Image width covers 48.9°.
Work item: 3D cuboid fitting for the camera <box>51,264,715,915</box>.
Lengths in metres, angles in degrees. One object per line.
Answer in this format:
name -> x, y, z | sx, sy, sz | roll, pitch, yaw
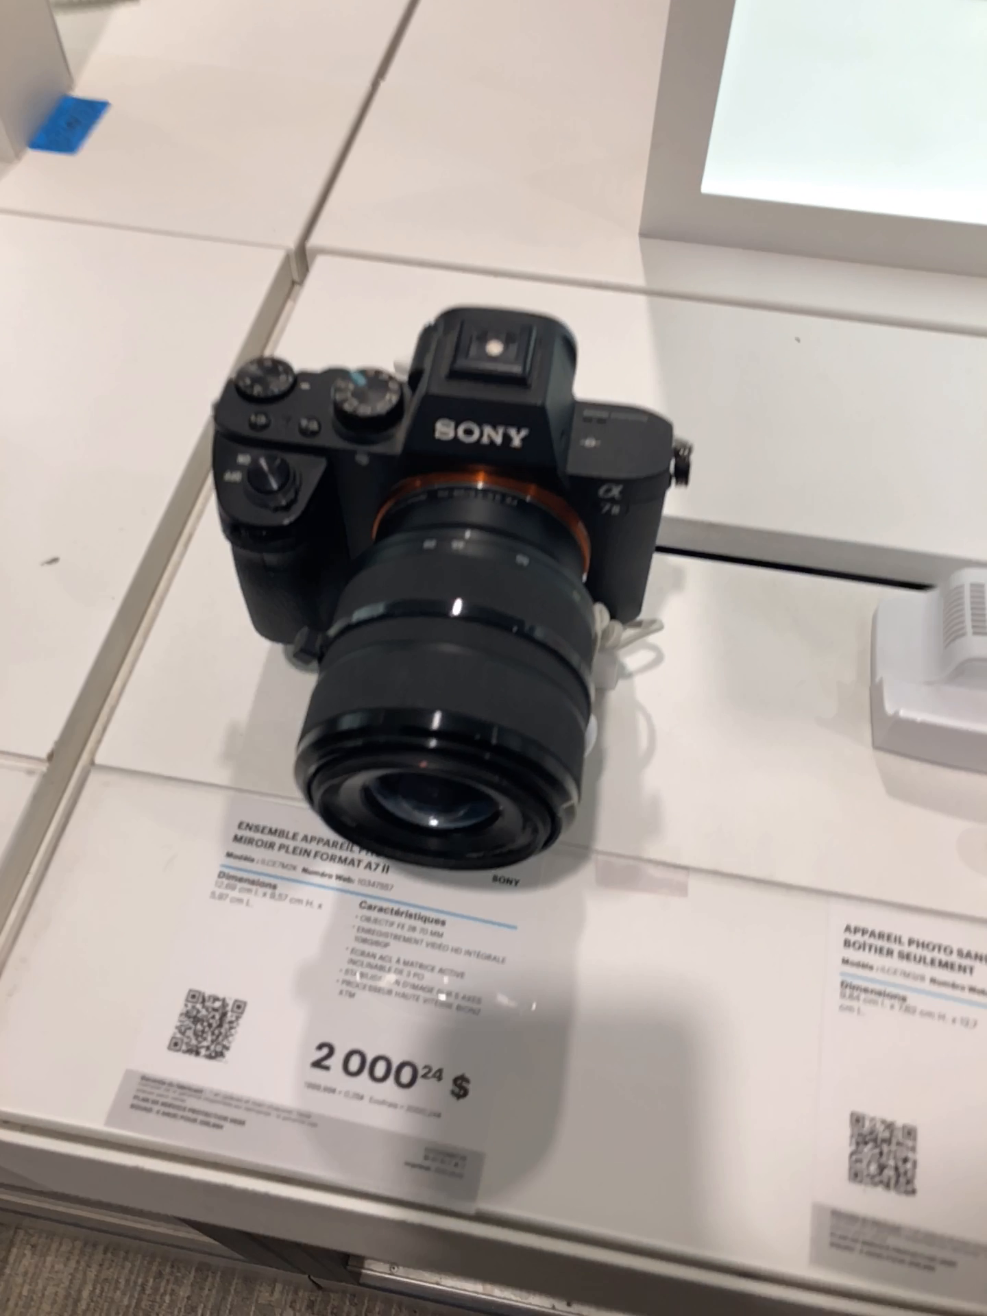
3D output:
camera -> -0.017, -0.019, 0.297 | 0.134, 0.099, 0.131 | 7, 56, 4
